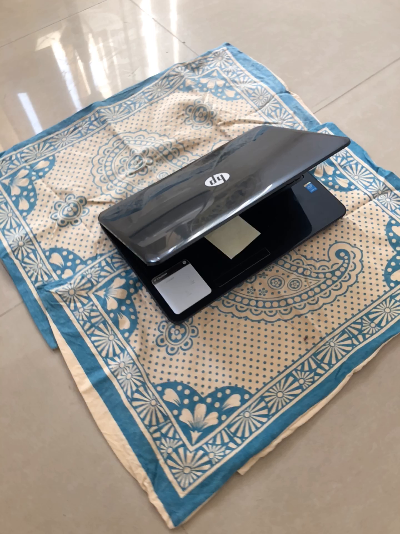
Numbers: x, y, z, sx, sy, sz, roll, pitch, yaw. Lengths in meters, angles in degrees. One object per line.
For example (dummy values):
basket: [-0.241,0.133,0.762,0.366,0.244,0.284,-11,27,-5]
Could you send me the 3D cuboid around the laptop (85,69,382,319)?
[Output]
laptop: [0.045,-0.127,0.720,0.364,0.151,0.237,-31,63,-13]
